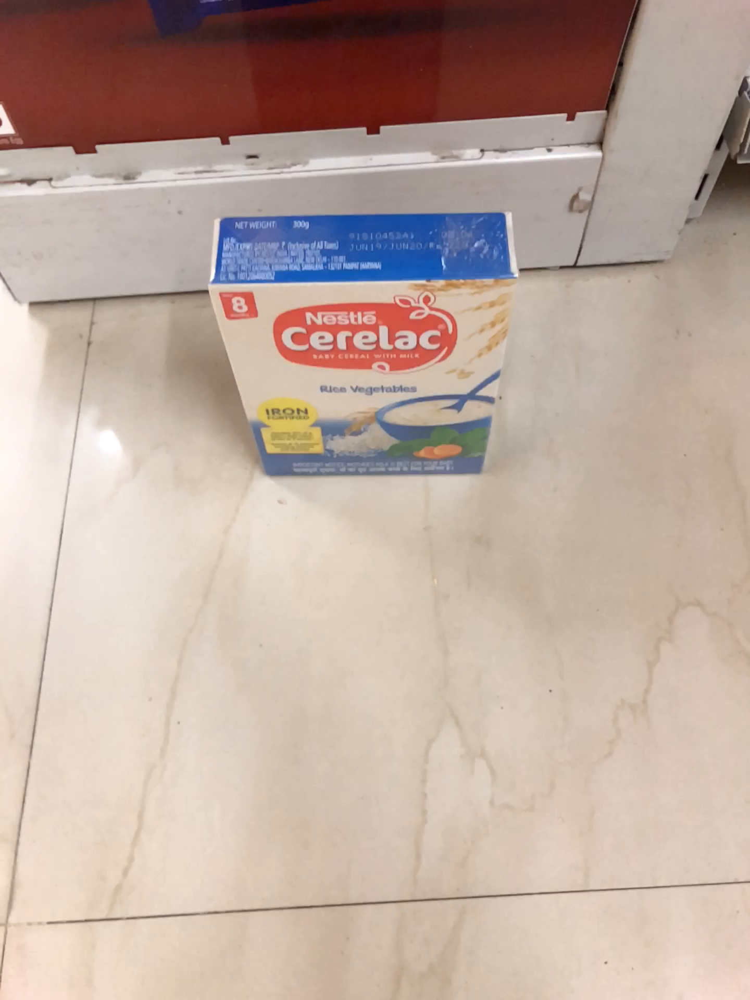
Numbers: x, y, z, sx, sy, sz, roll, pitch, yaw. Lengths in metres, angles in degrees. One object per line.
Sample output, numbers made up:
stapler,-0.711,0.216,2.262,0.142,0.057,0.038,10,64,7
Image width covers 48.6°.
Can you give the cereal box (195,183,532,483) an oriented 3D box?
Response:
cereal box,-0.004,-0.086,0.497,0.160,0.199,0.060,-2,62,0
